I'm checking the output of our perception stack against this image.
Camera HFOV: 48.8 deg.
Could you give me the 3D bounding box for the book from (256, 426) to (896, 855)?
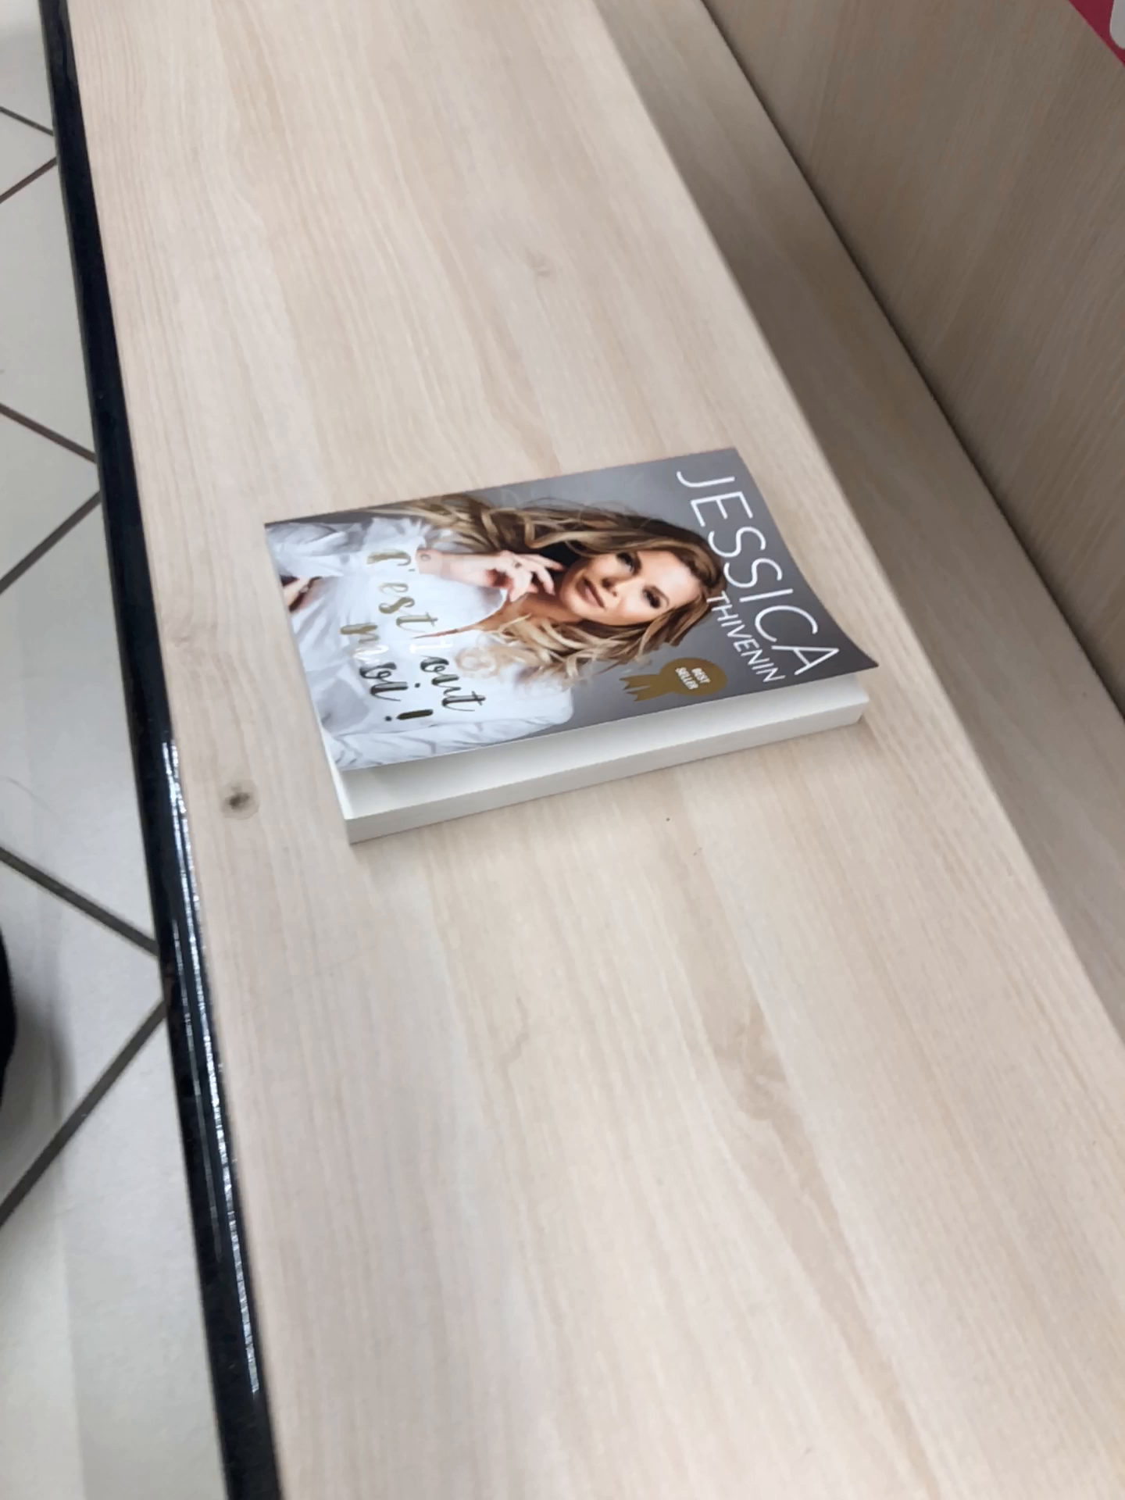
[{"bbox_3d":[0.002,-0.052,0.484,0.213,0.020,0.146,-13,61,-15],"label":"book"}]
